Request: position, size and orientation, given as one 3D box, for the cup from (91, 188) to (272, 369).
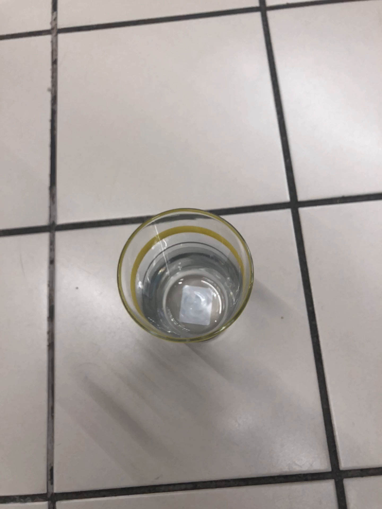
[{"bbox_3d":[0.000,0.023,0.283,0.076,0.114,0.079,-1,77,4],"label":"cup"}]
